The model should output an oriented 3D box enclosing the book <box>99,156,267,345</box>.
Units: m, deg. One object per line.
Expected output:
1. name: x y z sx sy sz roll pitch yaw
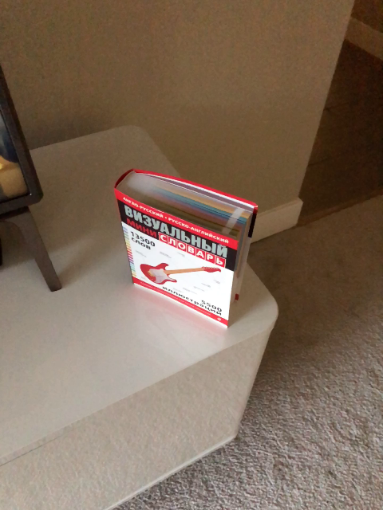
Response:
1. book: -0.012 0.002 0.472 0.150 0.179 0.060 22 51 16
